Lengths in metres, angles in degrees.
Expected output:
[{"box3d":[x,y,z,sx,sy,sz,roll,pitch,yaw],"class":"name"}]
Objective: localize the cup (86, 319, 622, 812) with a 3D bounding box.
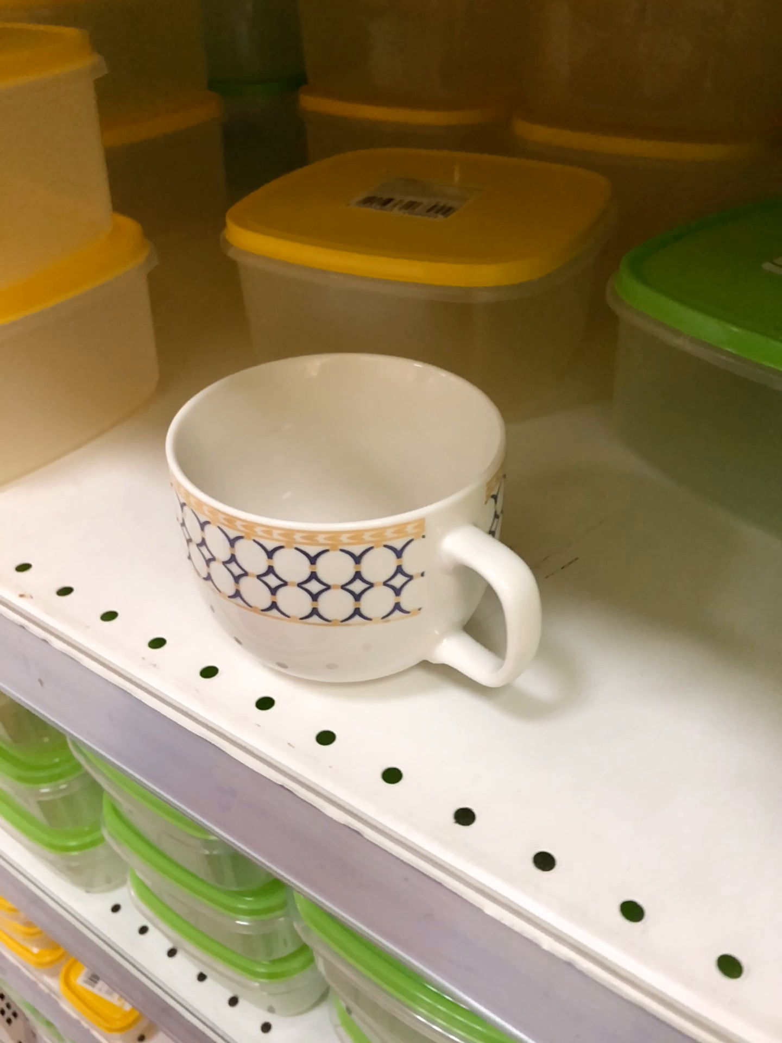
[{"box3d":[-0.017,0.000,0.279,0.105,0.062,0.135,-25,42,-26],"class":"cup"}]
